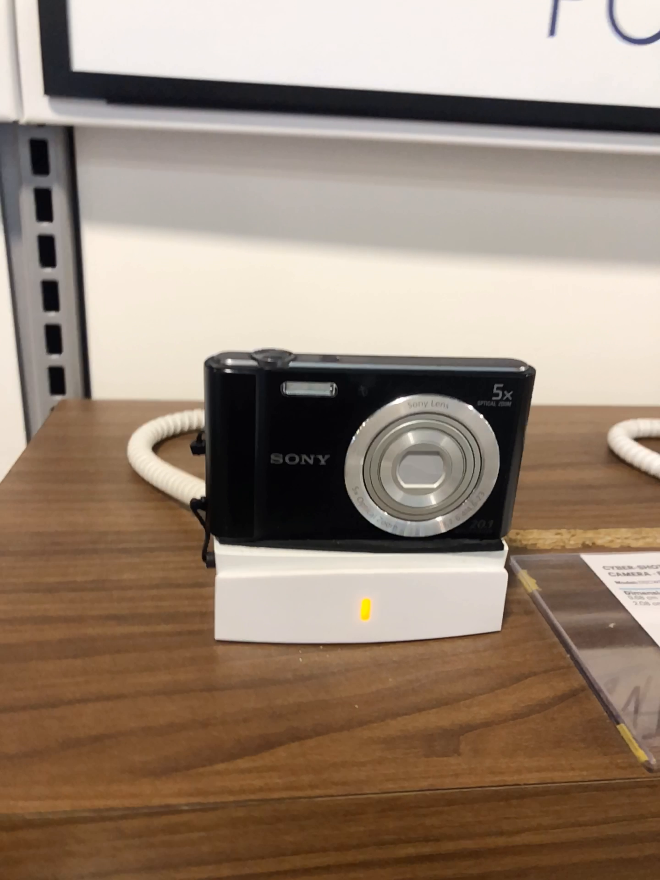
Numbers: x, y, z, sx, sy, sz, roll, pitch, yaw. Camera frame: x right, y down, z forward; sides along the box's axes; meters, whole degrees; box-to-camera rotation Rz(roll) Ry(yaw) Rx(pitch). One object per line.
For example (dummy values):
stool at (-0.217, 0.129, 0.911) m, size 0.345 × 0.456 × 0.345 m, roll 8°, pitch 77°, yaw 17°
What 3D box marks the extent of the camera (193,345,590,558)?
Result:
camera at (0.014, 0.003, 0.206) m, size 0.100 × 0.050 × 0.030 m, roll 2°, pitch 19°, yaw -3°
